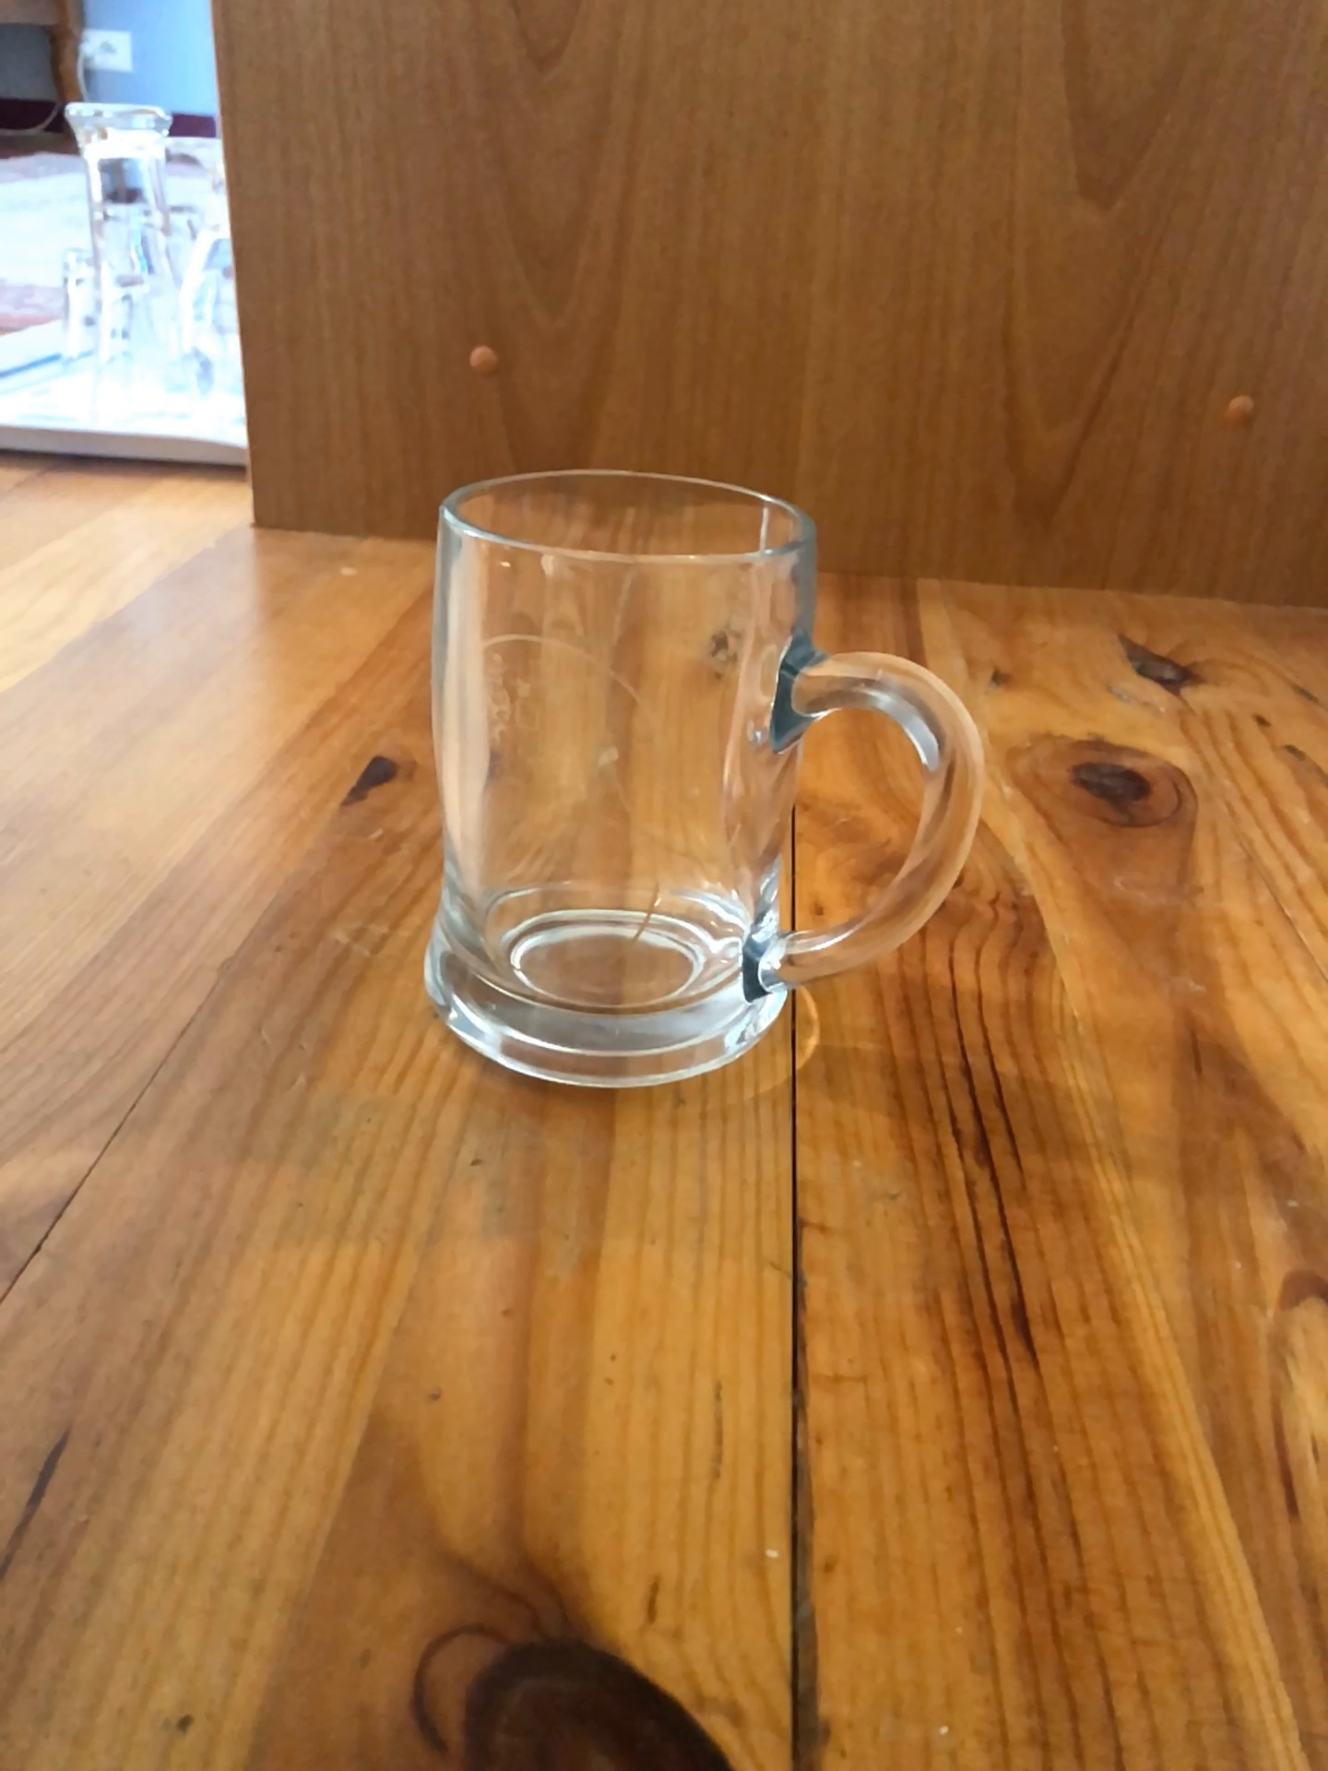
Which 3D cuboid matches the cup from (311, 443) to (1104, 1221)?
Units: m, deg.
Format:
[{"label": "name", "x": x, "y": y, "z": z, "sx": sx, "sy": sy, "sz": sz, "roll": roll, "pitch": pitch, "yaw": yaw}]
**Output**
[{"label": "cup", "x": 0.007, "y": -0.021, "z": 0.315, "sx": 0.128, "sy": 0.110, "sz": 0.092, "roll": 19, "pitch": 32, "yaw": 27}]
